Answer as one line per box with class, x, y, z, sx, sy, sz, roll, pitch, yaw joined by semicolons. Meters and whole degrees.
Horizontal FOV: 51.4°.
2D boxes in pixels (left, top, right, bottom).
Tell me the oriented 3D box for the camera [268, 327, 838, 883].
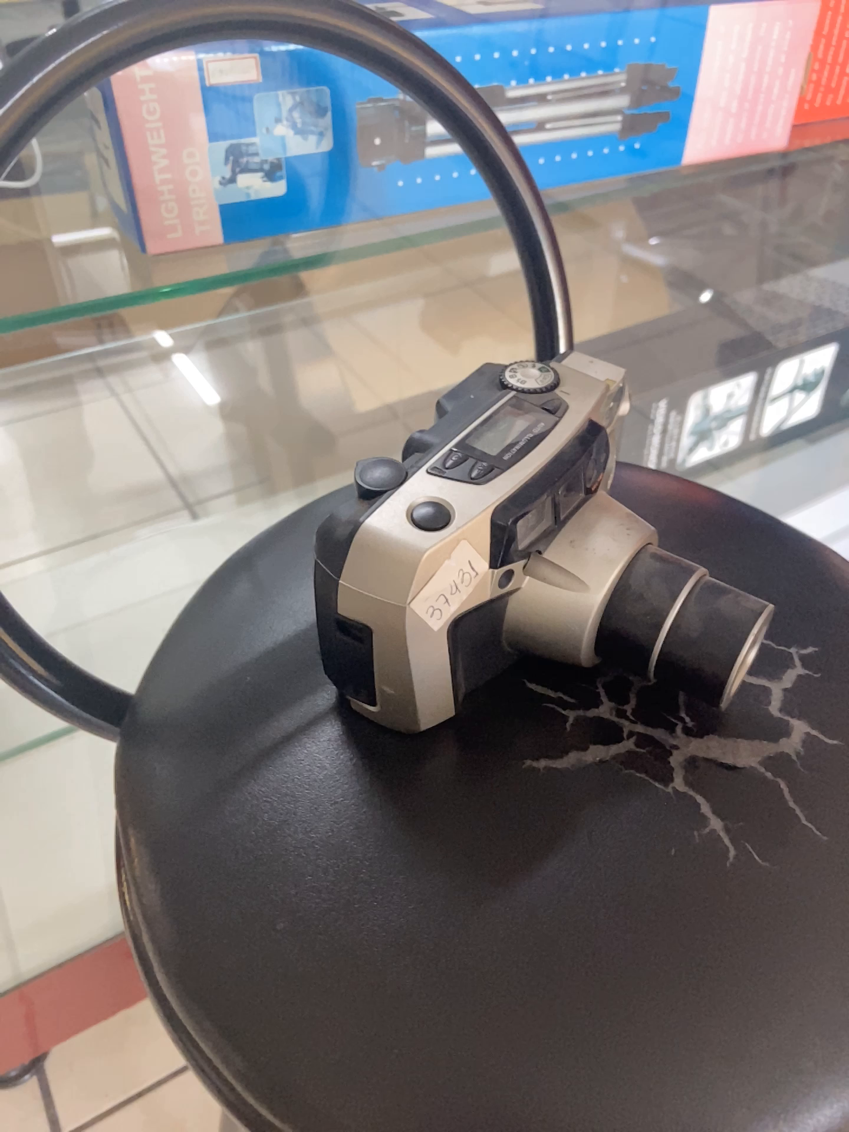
camera;0.043;0.000;0.283;0.120;0.080;0.131;22;46;24
